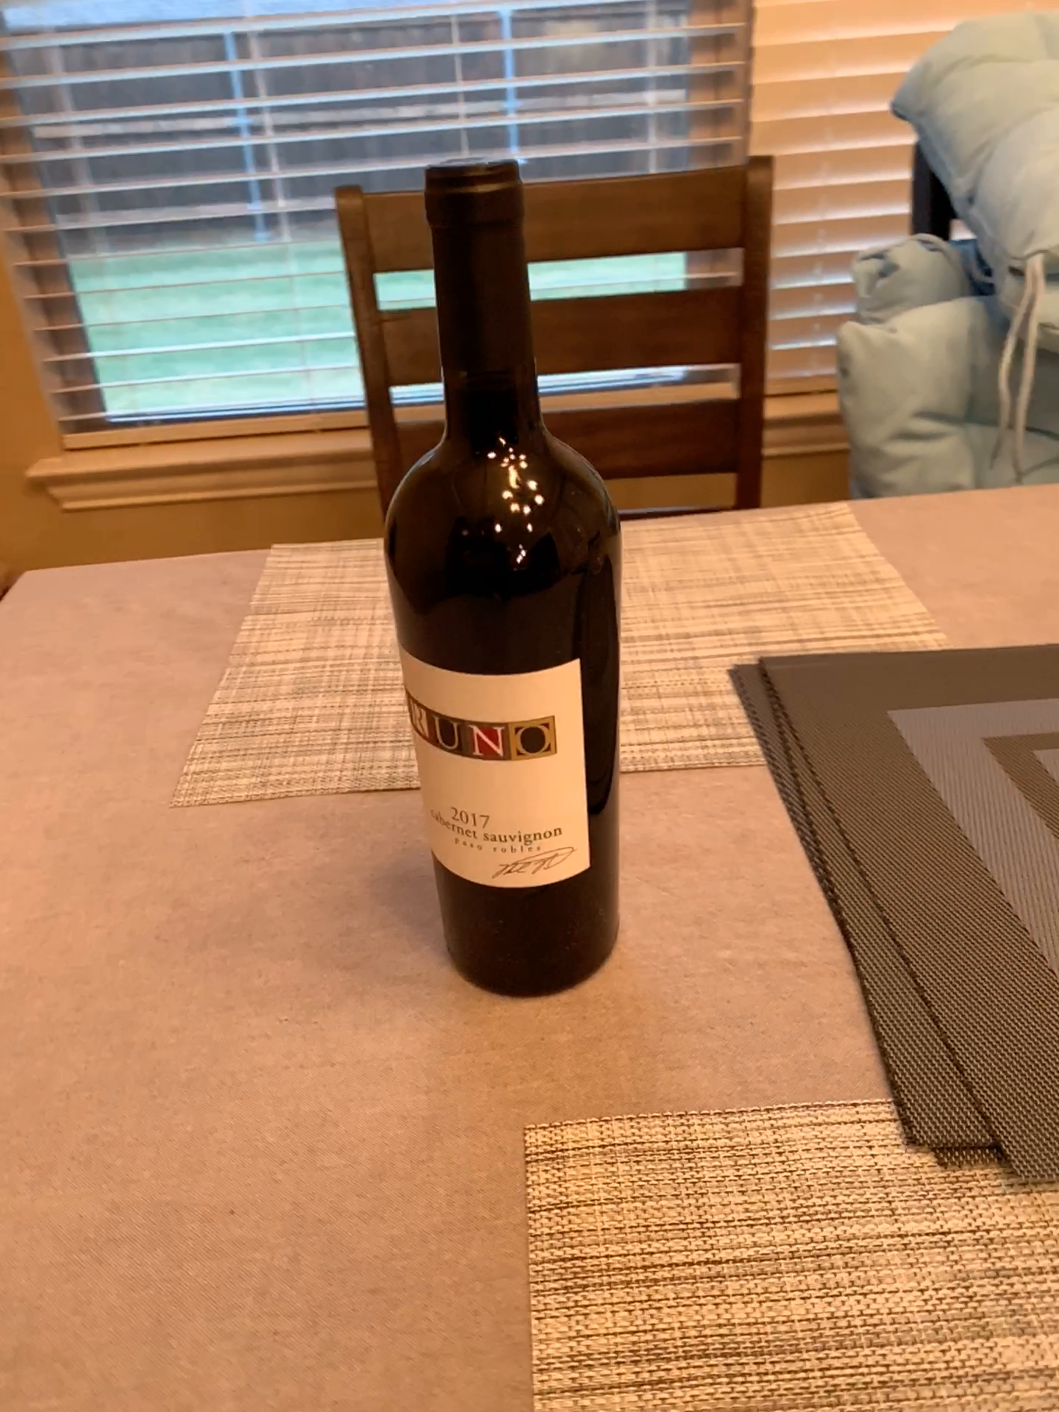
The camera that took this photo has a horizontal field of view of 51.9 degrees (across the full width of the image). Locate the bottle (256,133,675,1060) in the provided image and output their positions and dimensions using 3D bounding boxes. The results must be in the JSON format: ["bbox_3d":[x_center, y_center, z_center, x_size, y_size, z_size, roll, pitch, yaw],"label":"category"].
[{"bbox_3d":[-0.006,-0.027,0.381,0.083,0.298,0.090,-3,30,2],"label":"bottle"}]
